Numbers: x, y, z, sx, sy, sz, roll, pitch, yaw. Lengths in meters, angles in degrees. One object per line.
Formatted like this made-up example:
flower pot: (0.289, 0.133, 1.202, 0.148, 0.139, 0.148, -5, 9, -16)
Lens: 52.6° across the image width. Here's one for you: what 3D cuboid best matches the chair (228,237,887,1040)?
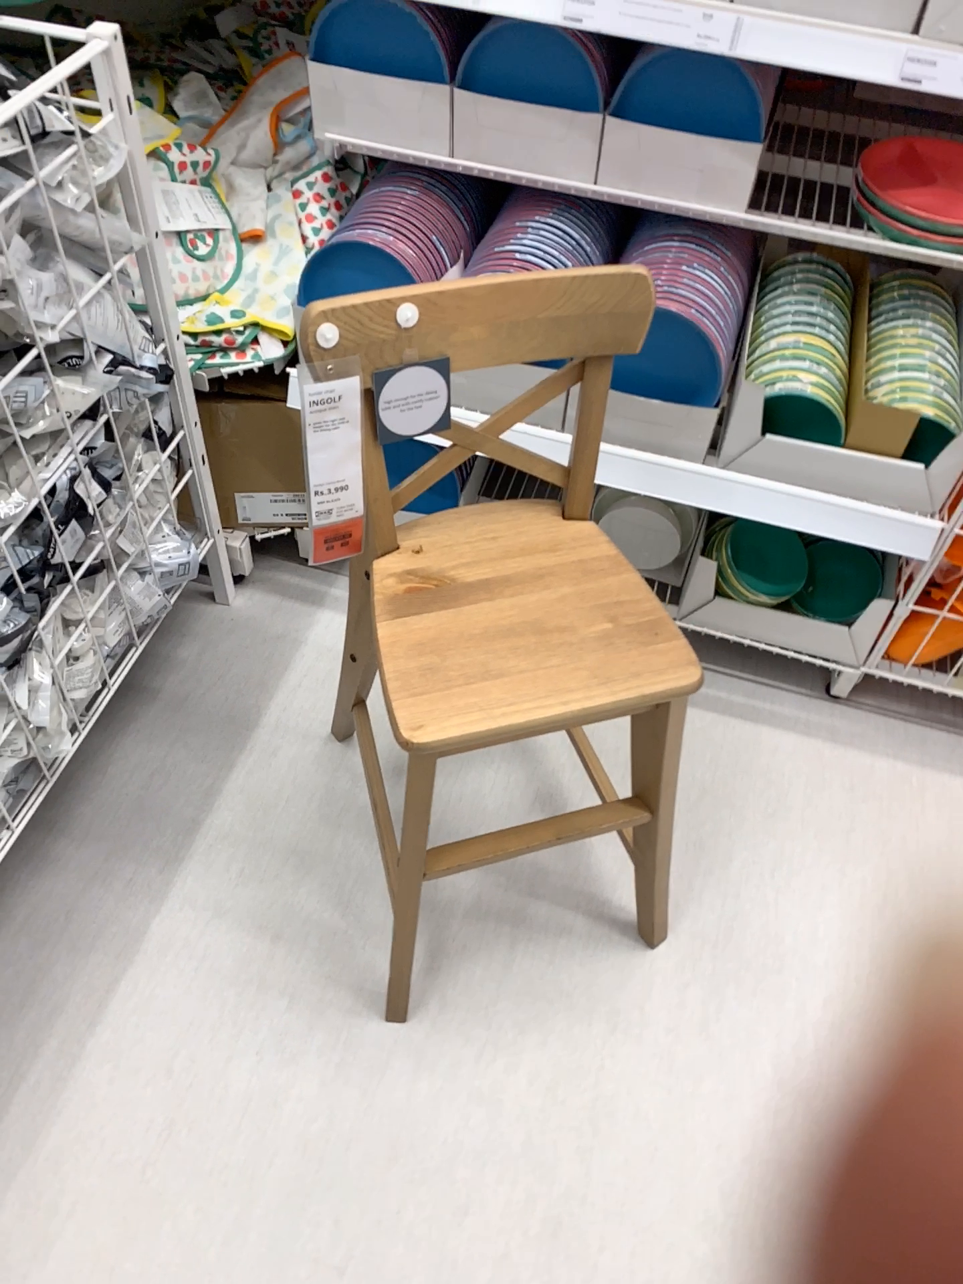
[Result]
chair: (0.013, 0.031, 1.050, 0.380, 0.688, 0.461, -14, 53, -15)
